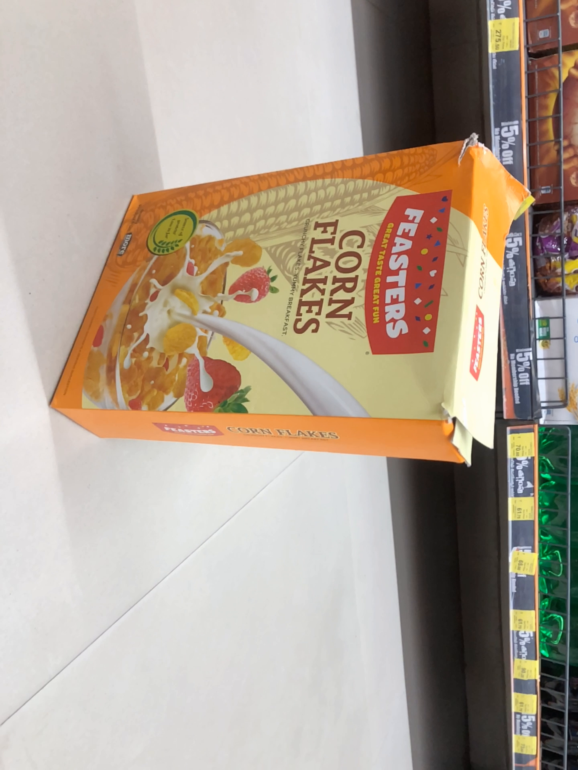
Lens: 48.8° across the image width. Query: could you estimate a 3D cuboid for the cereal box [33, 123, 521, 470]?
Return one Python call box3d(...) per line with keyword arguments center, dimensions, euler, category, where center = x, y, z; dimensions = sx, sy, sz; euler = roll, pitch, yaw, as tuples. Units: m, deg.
box3d(center=(-0.002, -0.053, 0.399), dimensions=(0.060, 0.268, 0.190), euler=(55, 41, -54), category="cereal box")
